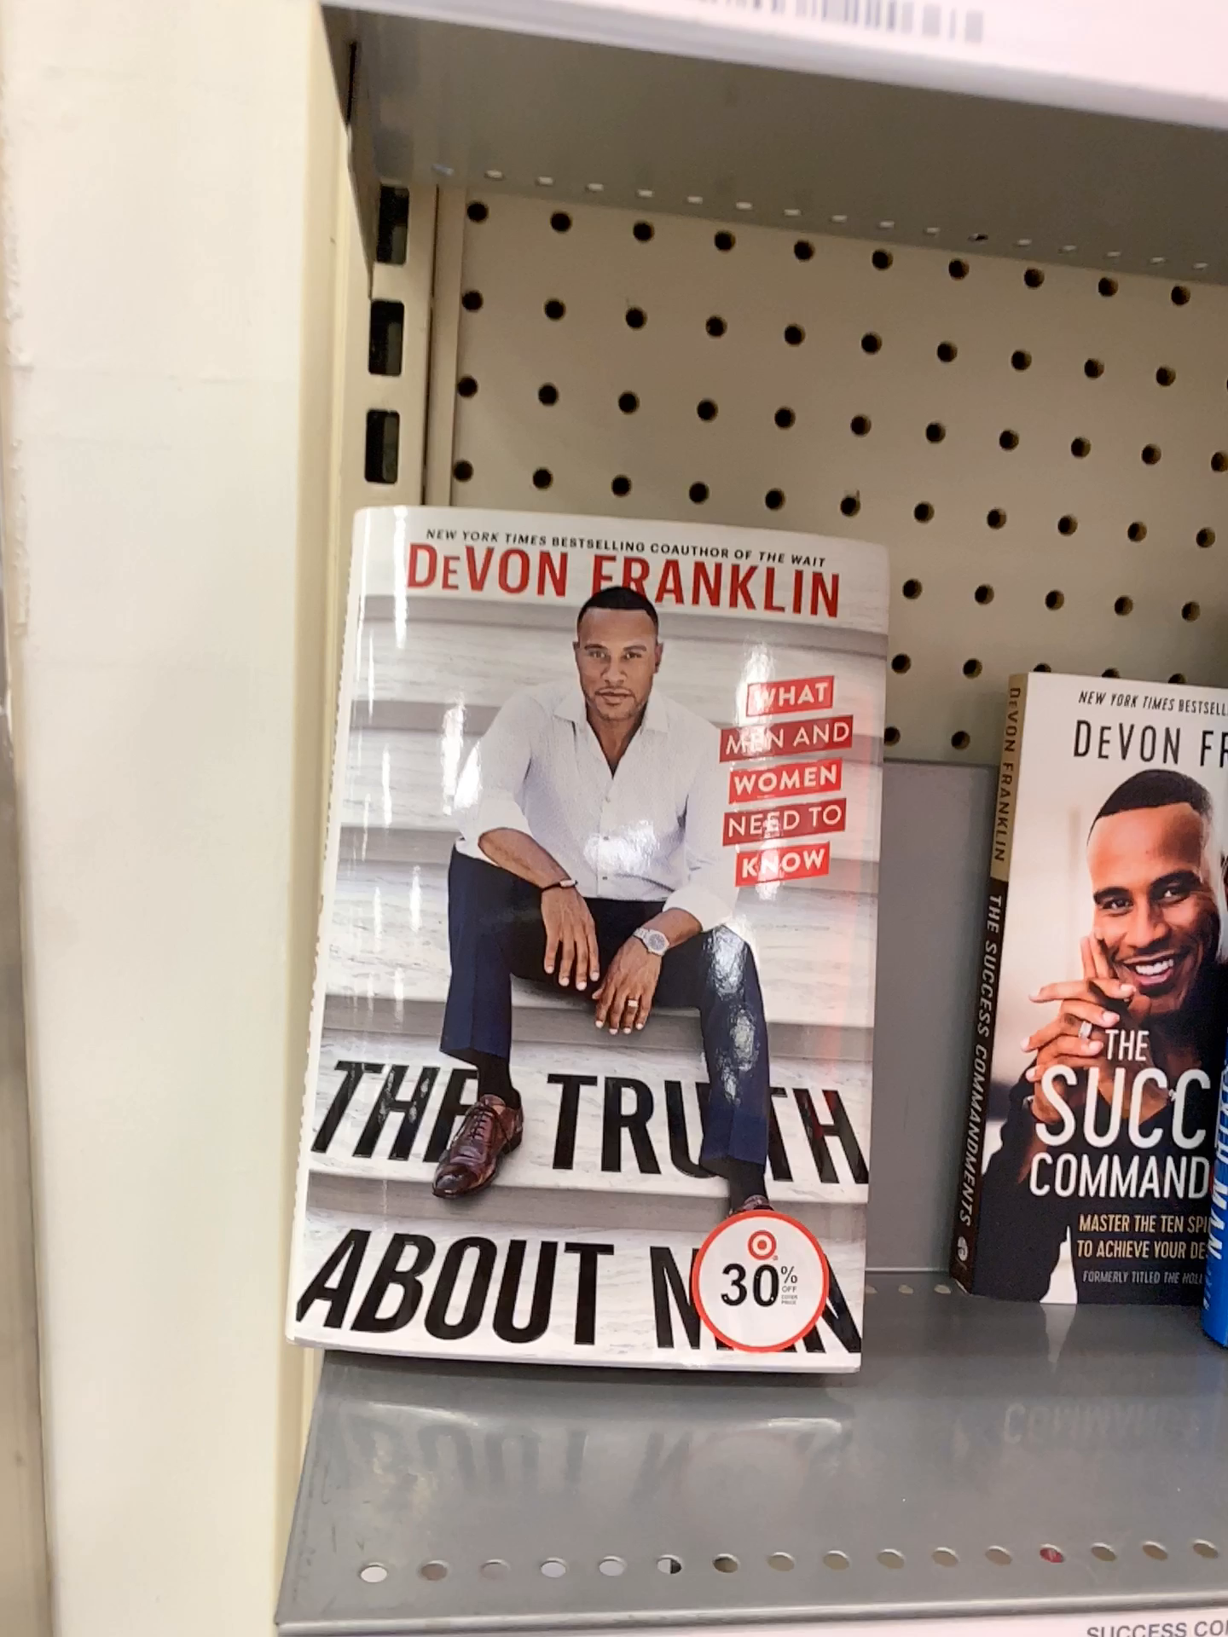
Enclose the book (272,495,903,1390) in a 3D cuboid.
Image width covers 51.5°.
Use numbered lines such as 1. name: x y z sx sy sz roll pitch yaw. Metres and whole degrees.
1. book: -0.004 0.033 0.370 0.160 0.237 0.040 4 -7 -4
